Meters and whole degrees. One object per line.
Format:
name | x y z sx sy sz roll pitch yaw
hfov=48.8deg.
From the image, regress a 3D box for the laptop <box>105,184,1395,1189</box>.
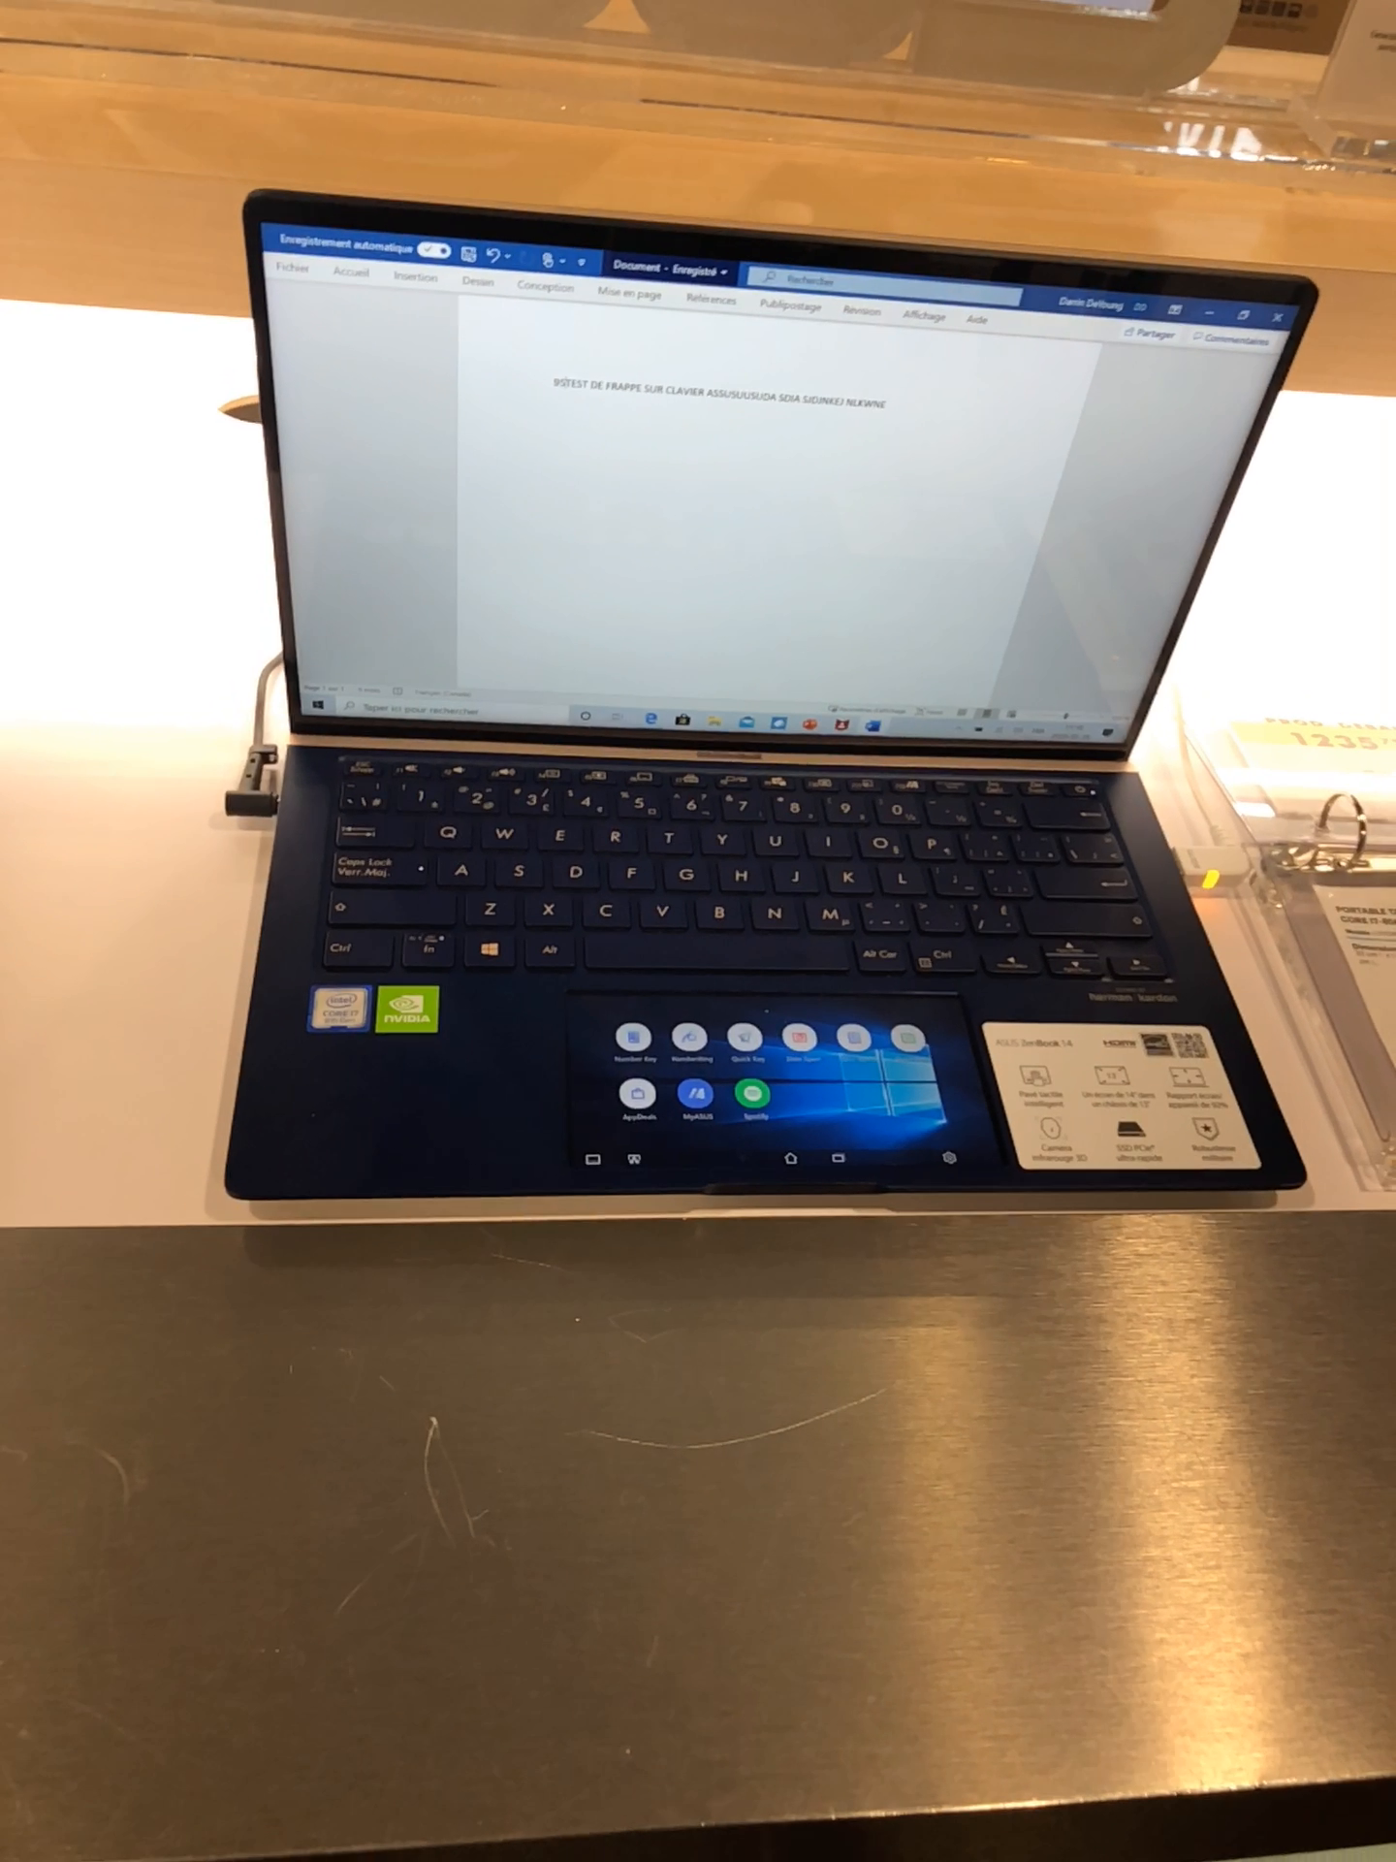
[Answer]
laptop | 0.029 -0.065 0.441 0.317 0.193 0.200 1 46 -8
